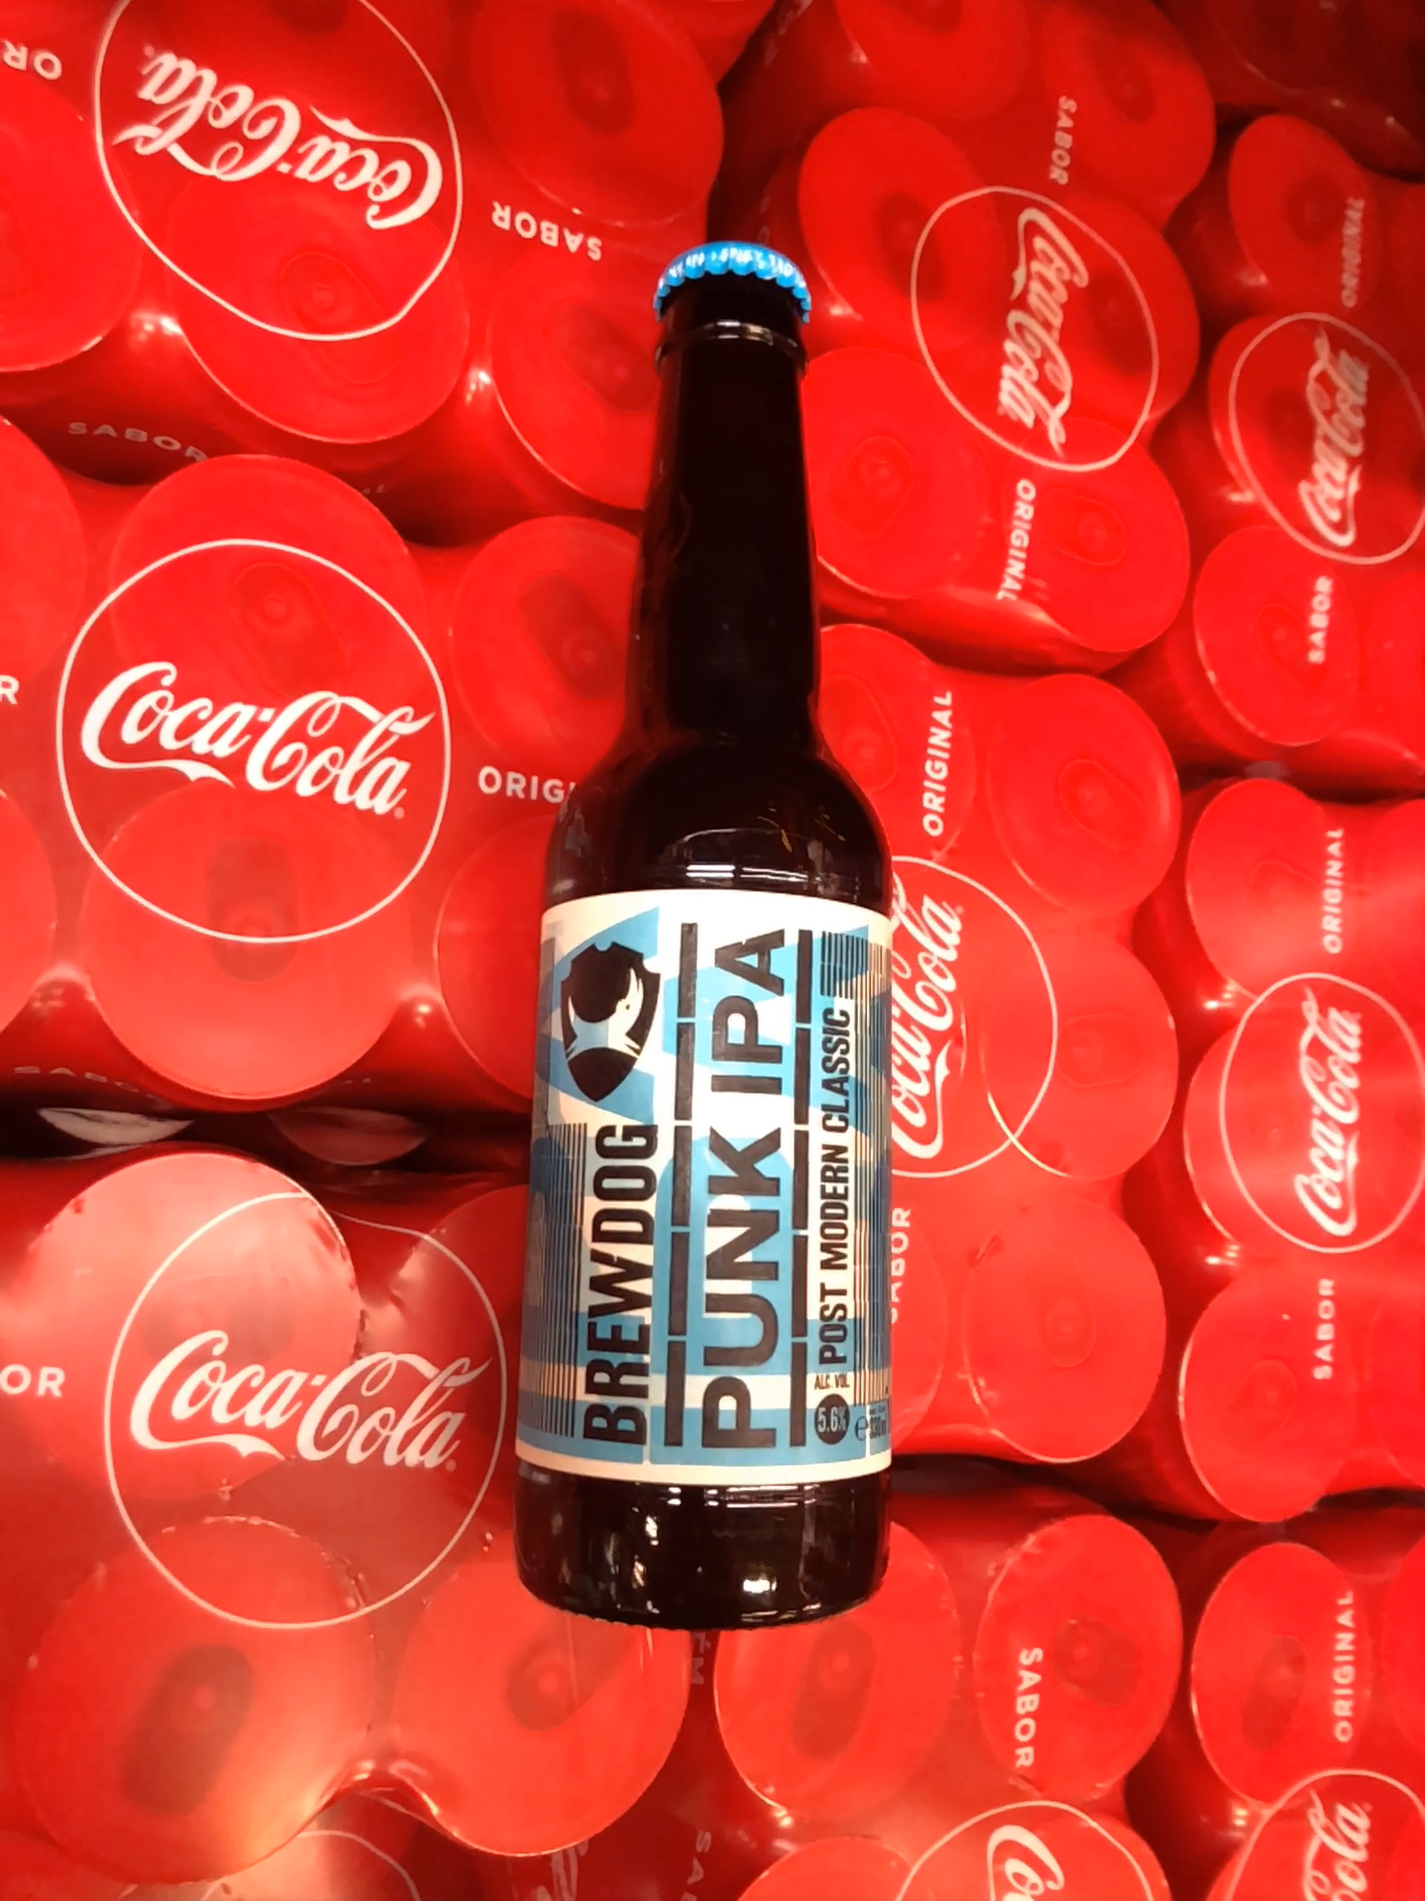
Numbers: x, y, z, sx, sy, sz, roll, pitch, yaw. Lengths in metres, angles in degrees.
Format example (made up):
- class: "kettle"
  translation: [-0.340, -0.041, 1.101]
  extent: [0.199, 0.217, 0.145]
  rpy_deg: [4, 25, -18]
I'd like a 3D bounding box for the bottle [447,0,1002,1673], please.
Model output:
- class: "bottle"
  translation: [0.002, -0.020, 0.248]
  extent: [0.060, 0.060, 0.230]
  rpy_deg: [6, 81, -26]
